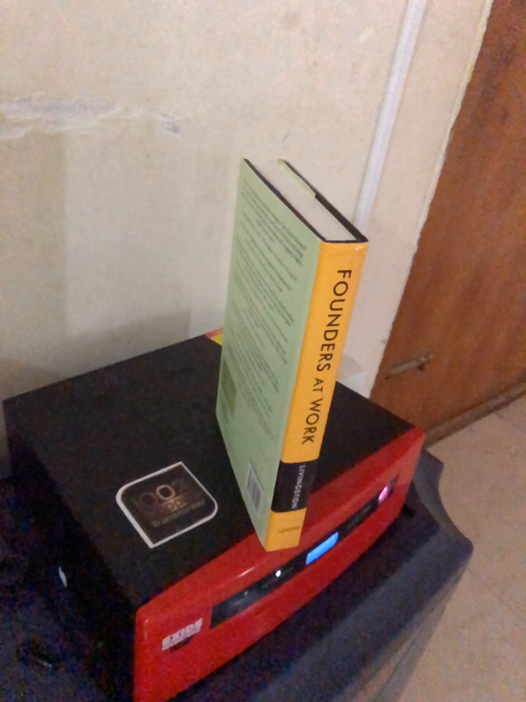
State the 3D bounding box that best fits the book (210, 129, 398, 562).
[{"bbox_3d":[0.008,-0.006,0.423,0.040,0.249,0.181,-1,35,-16],"label":"book"}]
